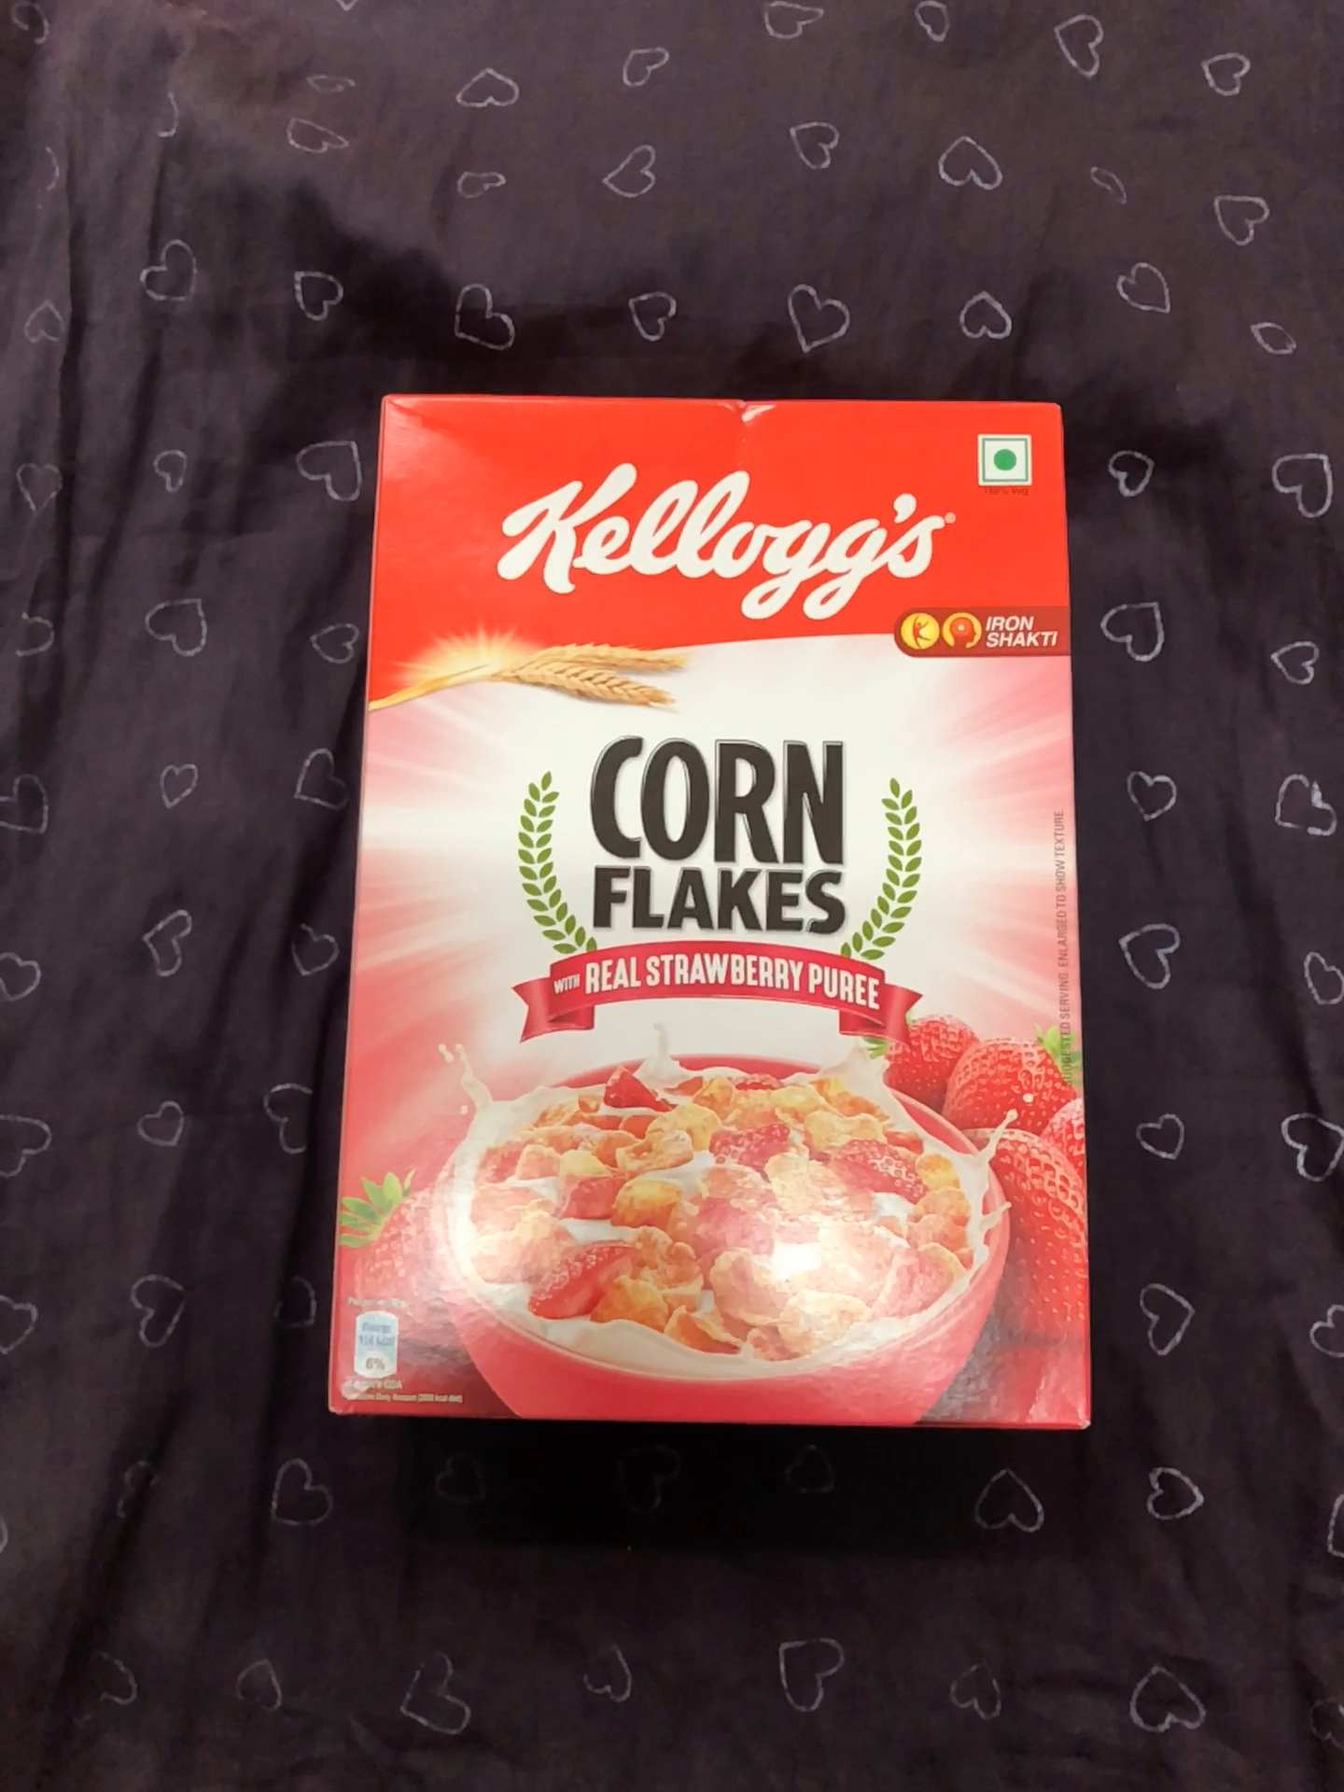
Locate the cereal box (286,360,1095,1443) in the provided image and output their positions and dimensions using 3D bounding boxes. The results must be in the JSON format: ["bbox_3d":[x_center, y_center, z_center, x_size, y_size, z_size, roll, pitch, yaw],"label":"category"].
[{"bbox_3d":[0.007,-0.001,0.406,0.190,0.070,0.270,1,81,0],"label":"cereal box"}]
